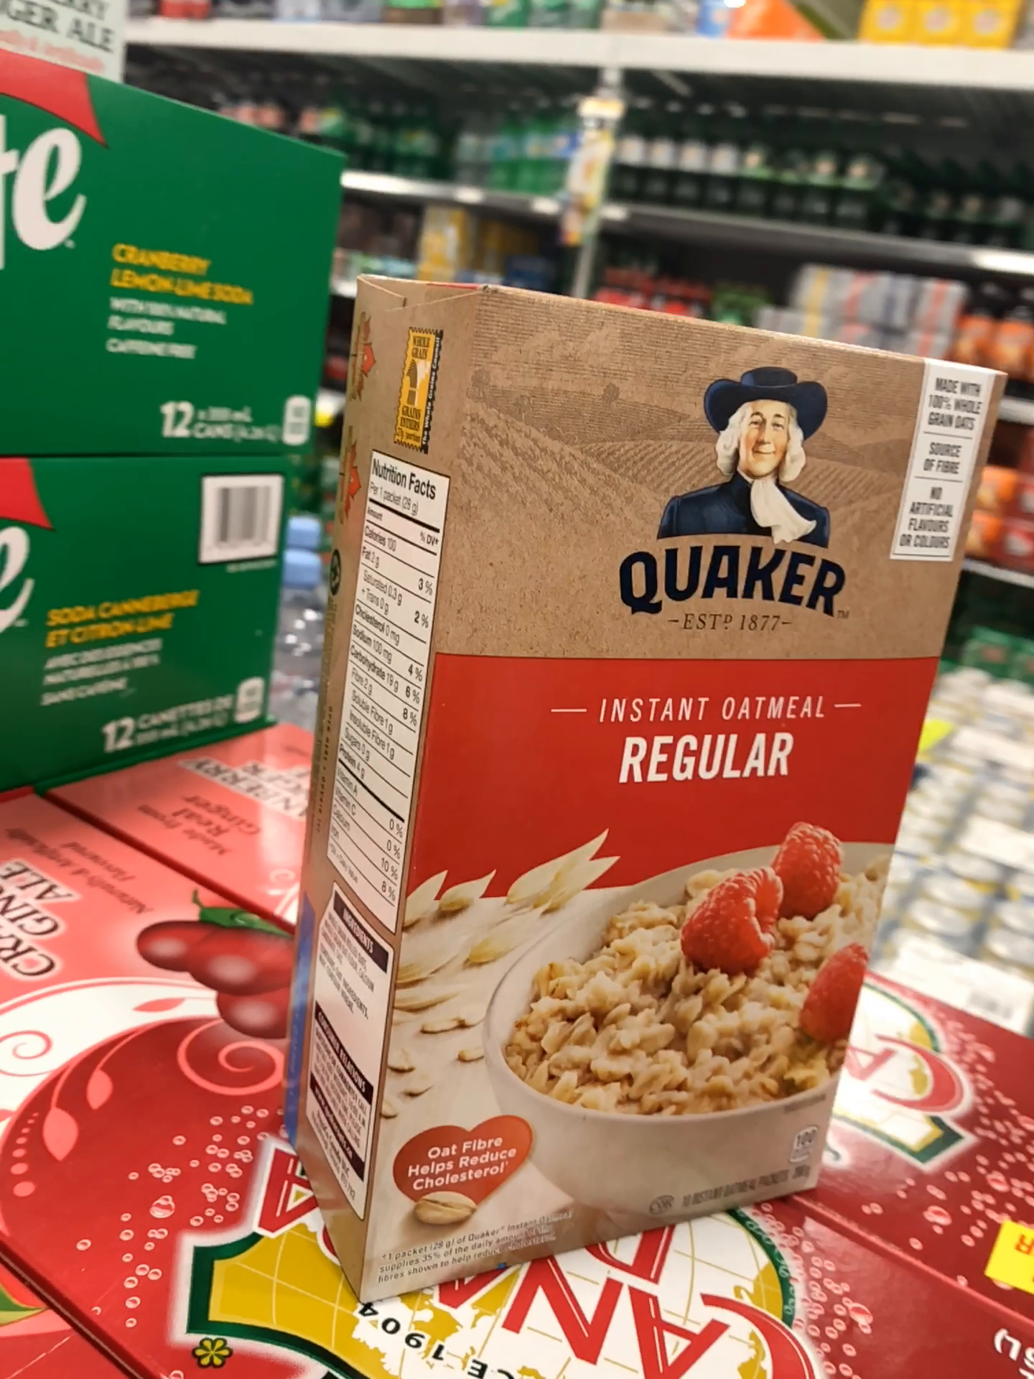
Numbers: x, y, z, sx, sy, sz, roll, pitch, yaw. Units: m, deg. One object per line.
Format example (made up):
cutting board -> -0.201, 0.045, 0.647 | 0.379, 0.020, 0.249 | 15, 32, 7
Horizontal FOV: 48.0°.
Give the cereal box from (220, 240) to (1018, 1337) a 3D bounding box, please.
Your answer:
cereal box -> 0.015, 0.018, 0.259 | 0.130, 0.199, 0.070 | 0, 17, -29
